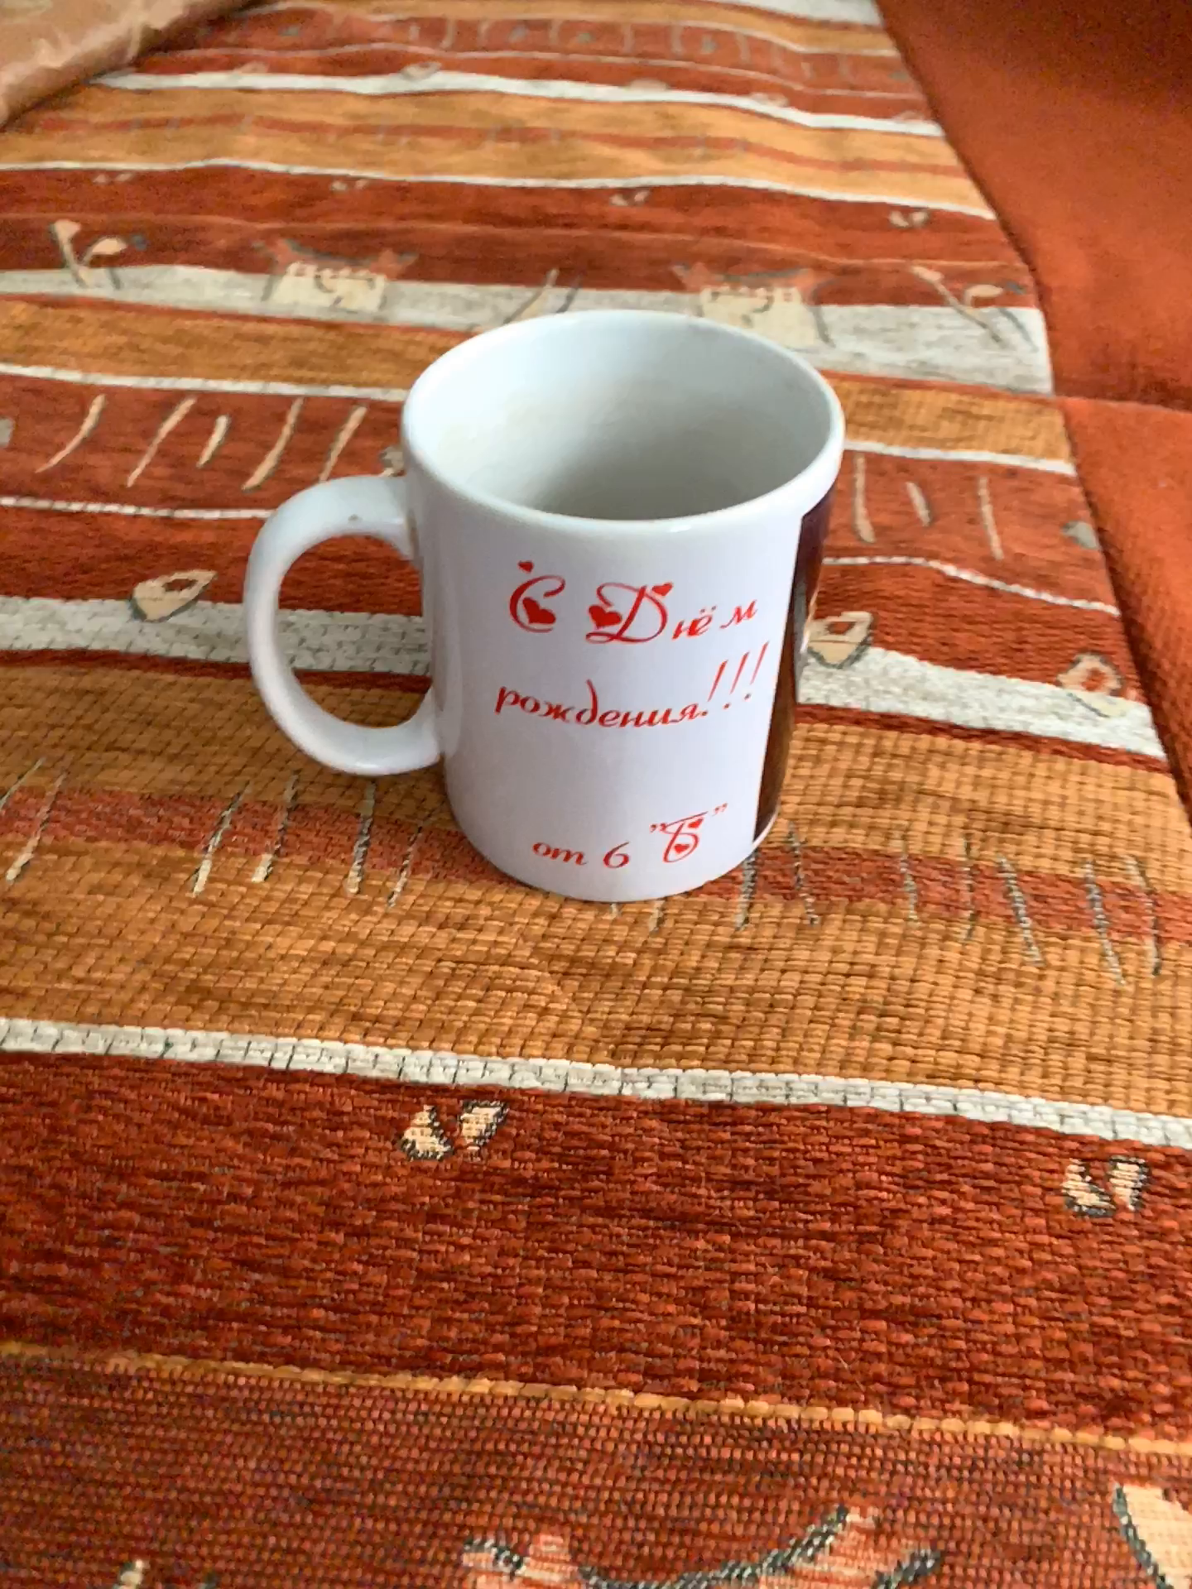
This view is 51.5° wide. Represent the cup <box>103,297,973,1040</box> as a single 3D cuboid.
[{"bbox_3d":[-0.012,-0.023,0.215,0.110,0.089,0.081,-5,44,-7],"label":"cup"}]
